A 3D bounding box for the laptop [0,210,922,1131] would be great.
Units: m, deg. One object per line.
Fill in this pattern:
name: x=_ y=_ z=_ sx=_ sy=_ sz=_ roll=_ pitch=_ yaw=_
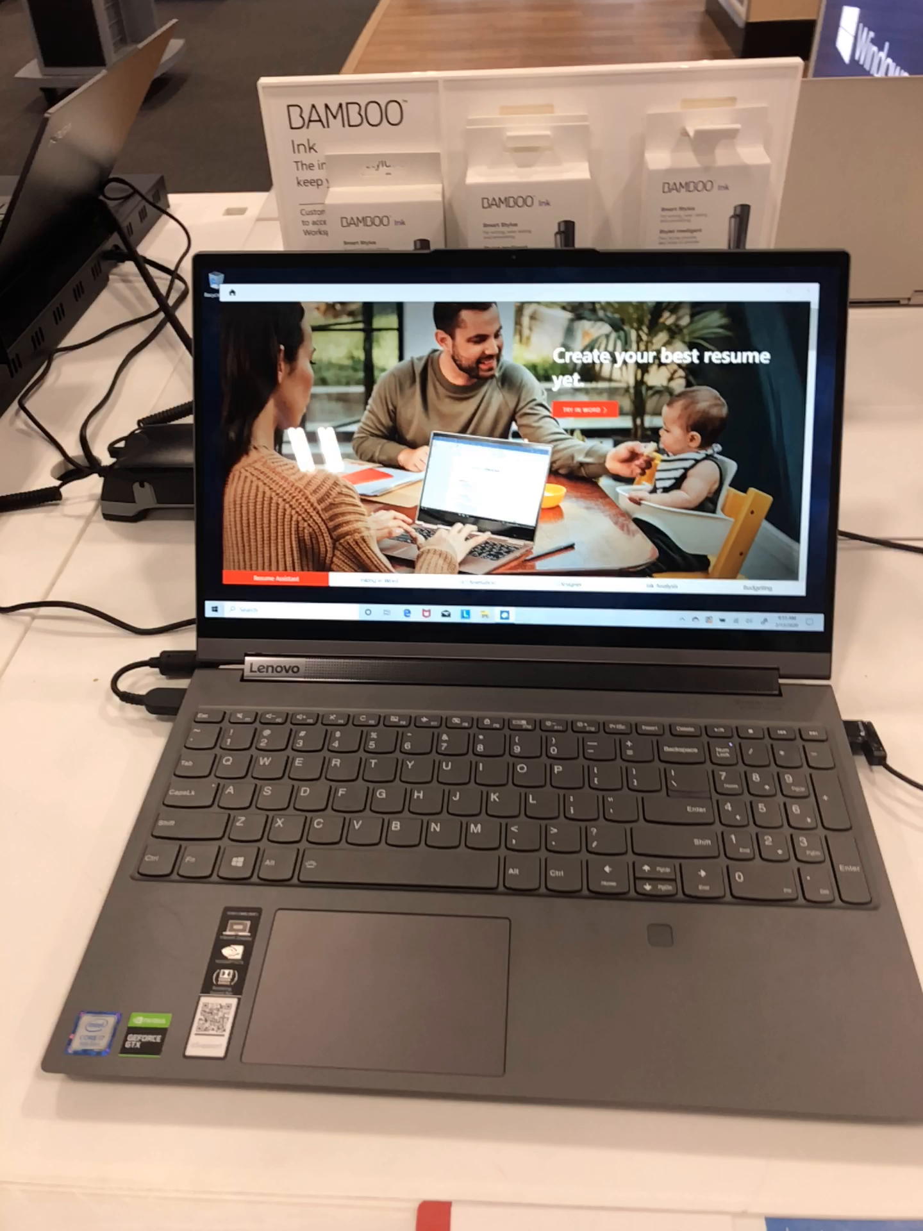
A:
laptop: x=0.020 y=-0.011 z=0.473 sx=0.336 sy=0.169 sz=0.376 roll=1 pitch=47 yaw=4
